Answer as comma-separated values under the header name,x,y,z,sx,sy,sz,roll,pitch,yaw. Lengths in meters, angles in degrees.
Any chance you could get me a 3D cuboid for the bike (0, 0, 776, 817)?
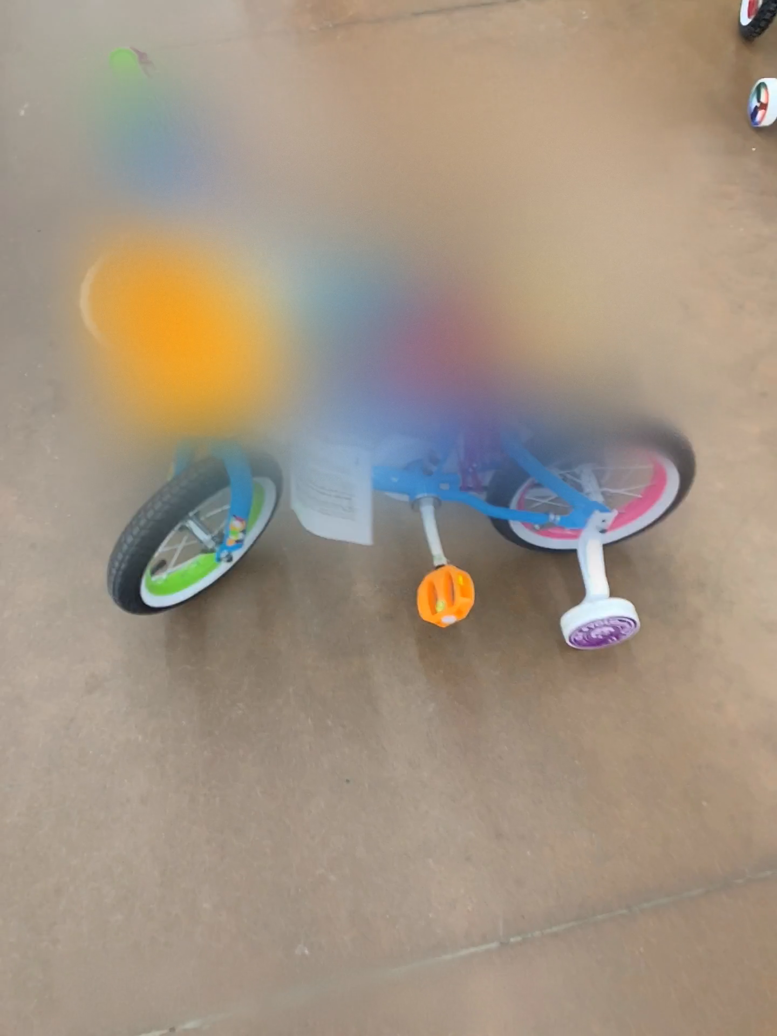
name,x,y,z,sx,sy,sz,roll,pitch,yaw
bike,0.025,-0.089,0.969,0.833,0.667,0.523,-10,54,-3
